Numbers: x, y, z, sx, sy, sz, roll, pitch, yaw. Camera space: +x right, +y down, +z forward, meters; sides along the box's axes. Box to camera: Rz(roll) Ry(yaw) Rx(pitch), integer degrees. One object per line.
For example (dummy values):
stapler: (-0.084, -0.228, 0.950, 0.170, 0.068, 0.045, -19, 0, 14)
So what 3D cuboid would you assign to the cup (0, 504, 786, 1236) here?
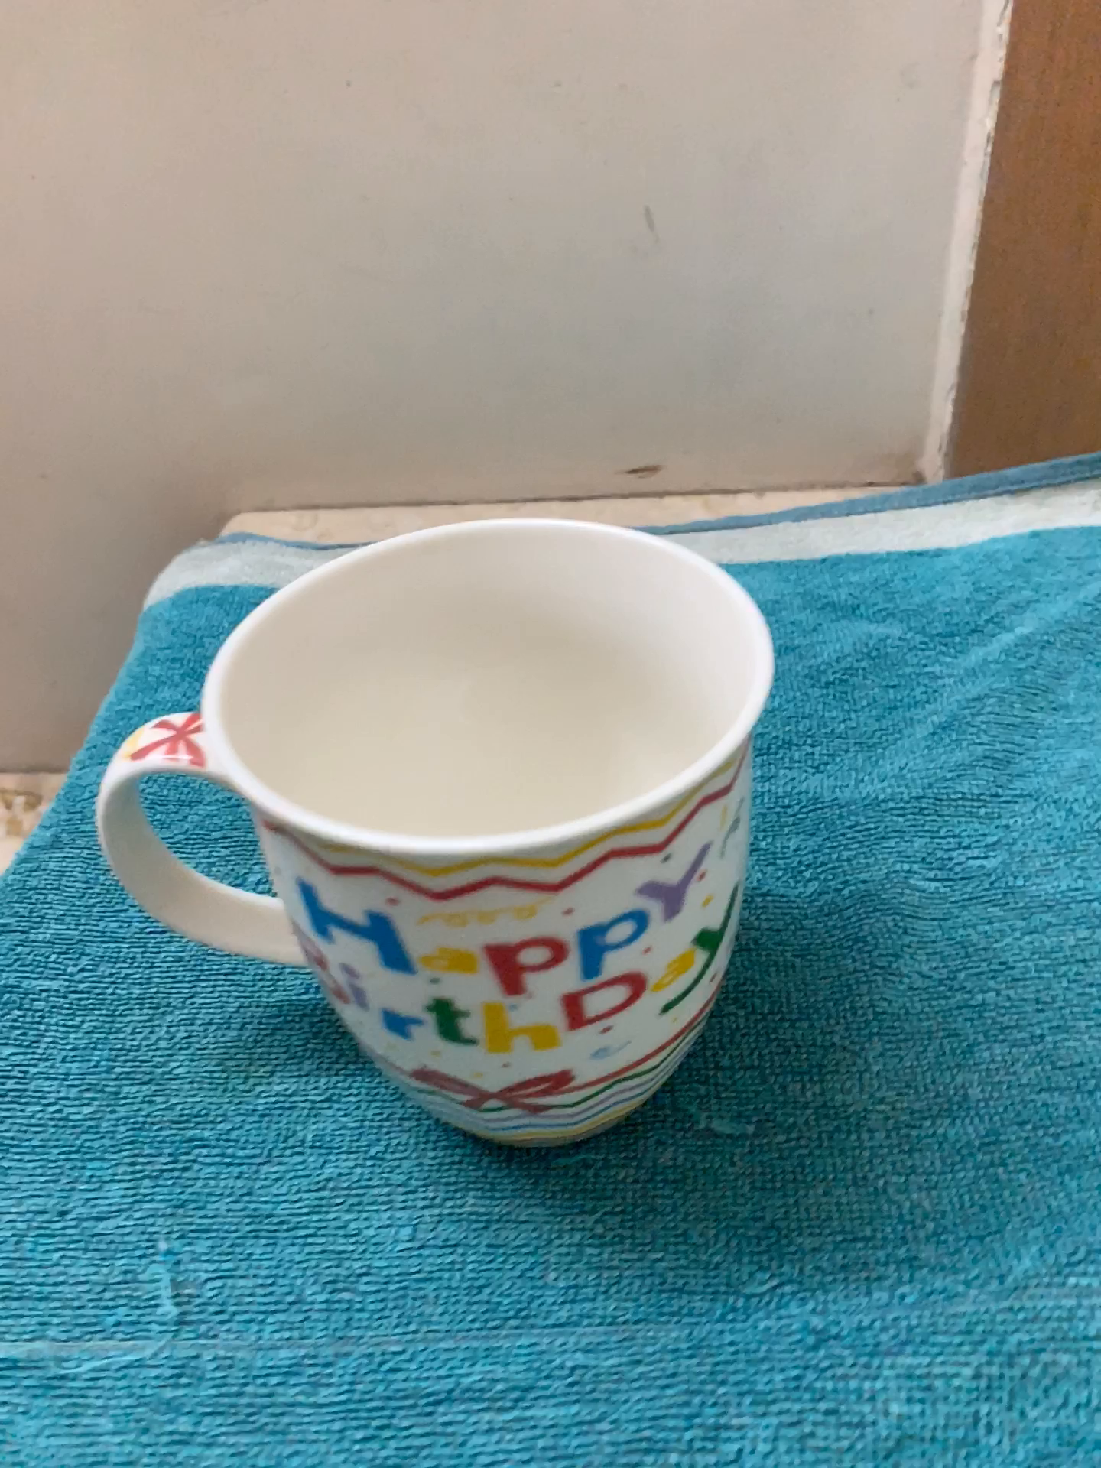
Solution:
cup: (-0.026, 0.023, 0.220, 0.130, 0.099, 0.091, 0, 39, 7)
